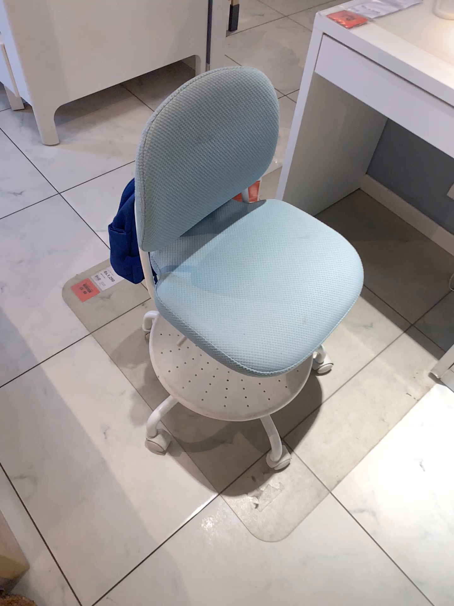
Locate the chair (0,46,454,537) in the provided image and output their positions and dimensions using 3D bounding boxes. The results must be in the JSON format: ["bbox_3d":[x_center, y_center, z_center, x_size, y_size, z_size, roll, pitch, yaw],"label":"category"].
[{"bbox_3d":[0.015,-0.003,1.051,0.621,0.718,0.601,37,59,20],"label":"chair"}]
